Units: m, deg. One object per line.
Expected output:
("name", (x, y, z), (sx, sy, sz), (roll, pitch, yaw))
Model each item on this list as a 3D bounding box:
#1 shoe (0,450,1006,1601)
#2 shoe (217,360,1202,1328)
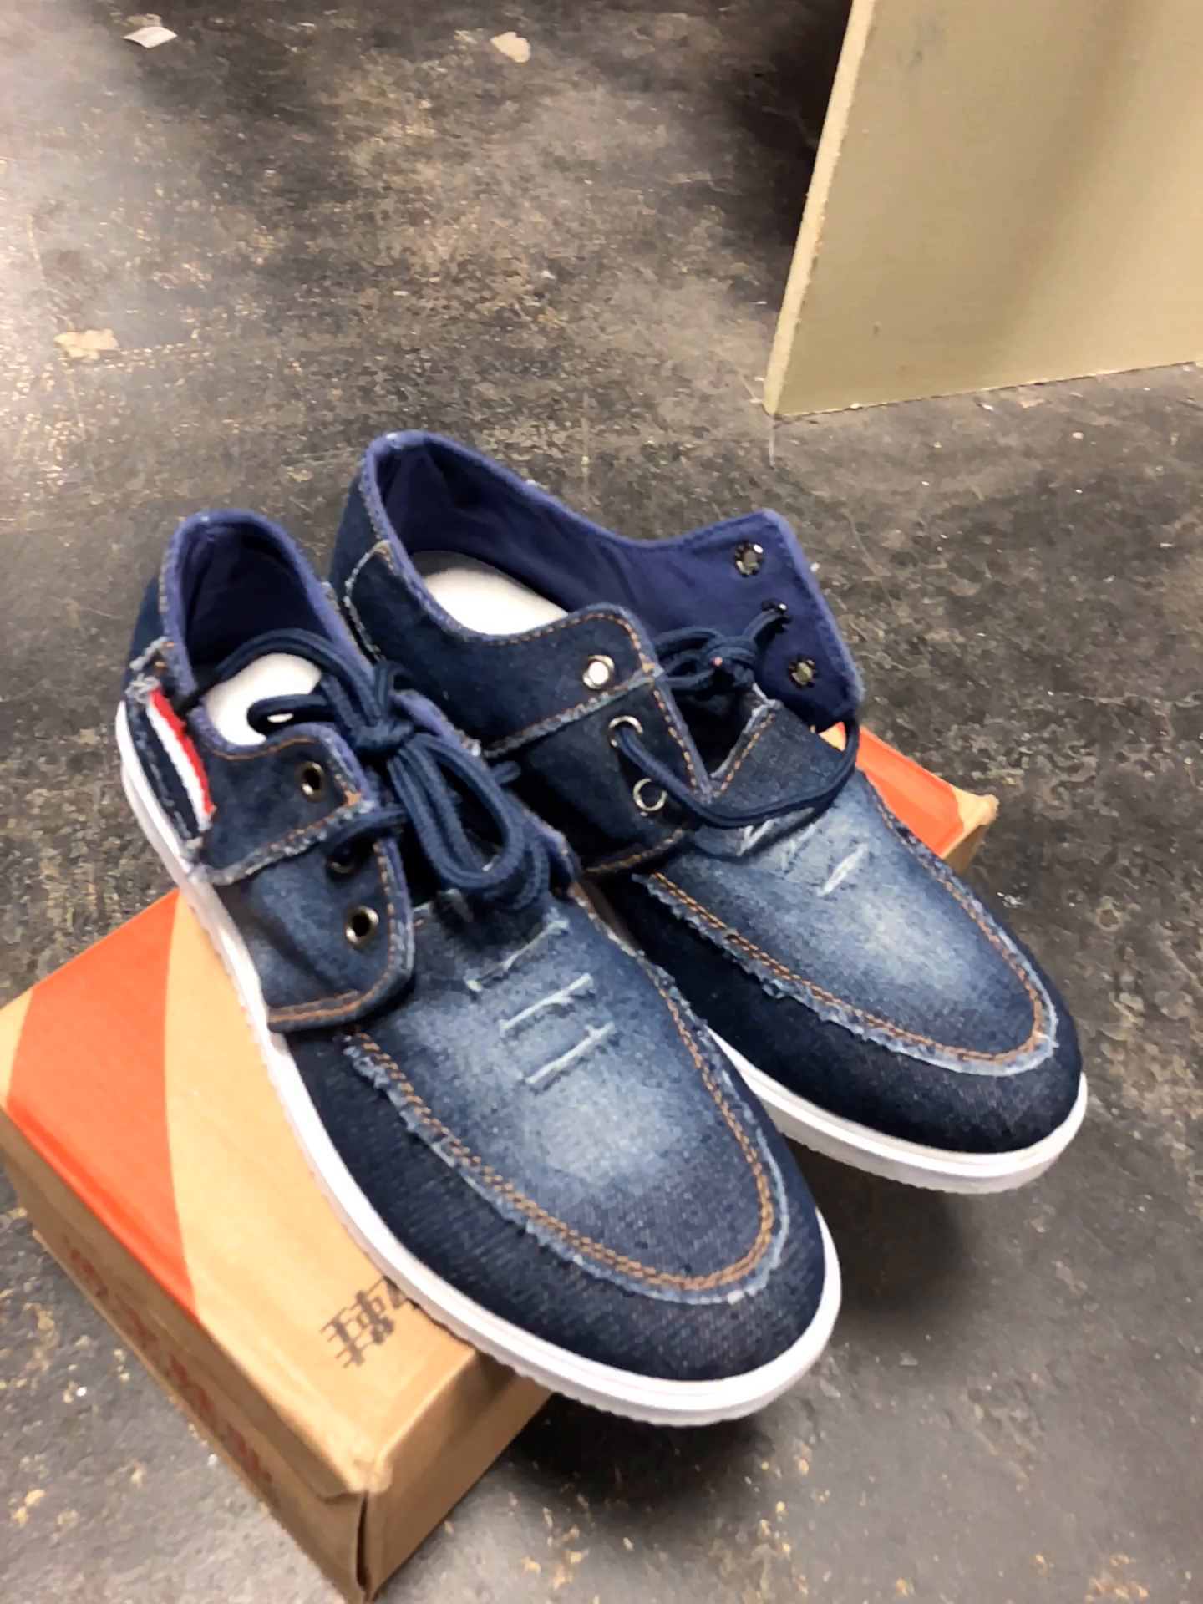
("shoe", (-0.044, 0.030, 0.305), (0.090, 0.079, 0.251), (-28, 59, -30))
("shoe", (0.018, -0.008, 0.362), (0.100, 0.079, 0.271), (-32, 61, -32))
